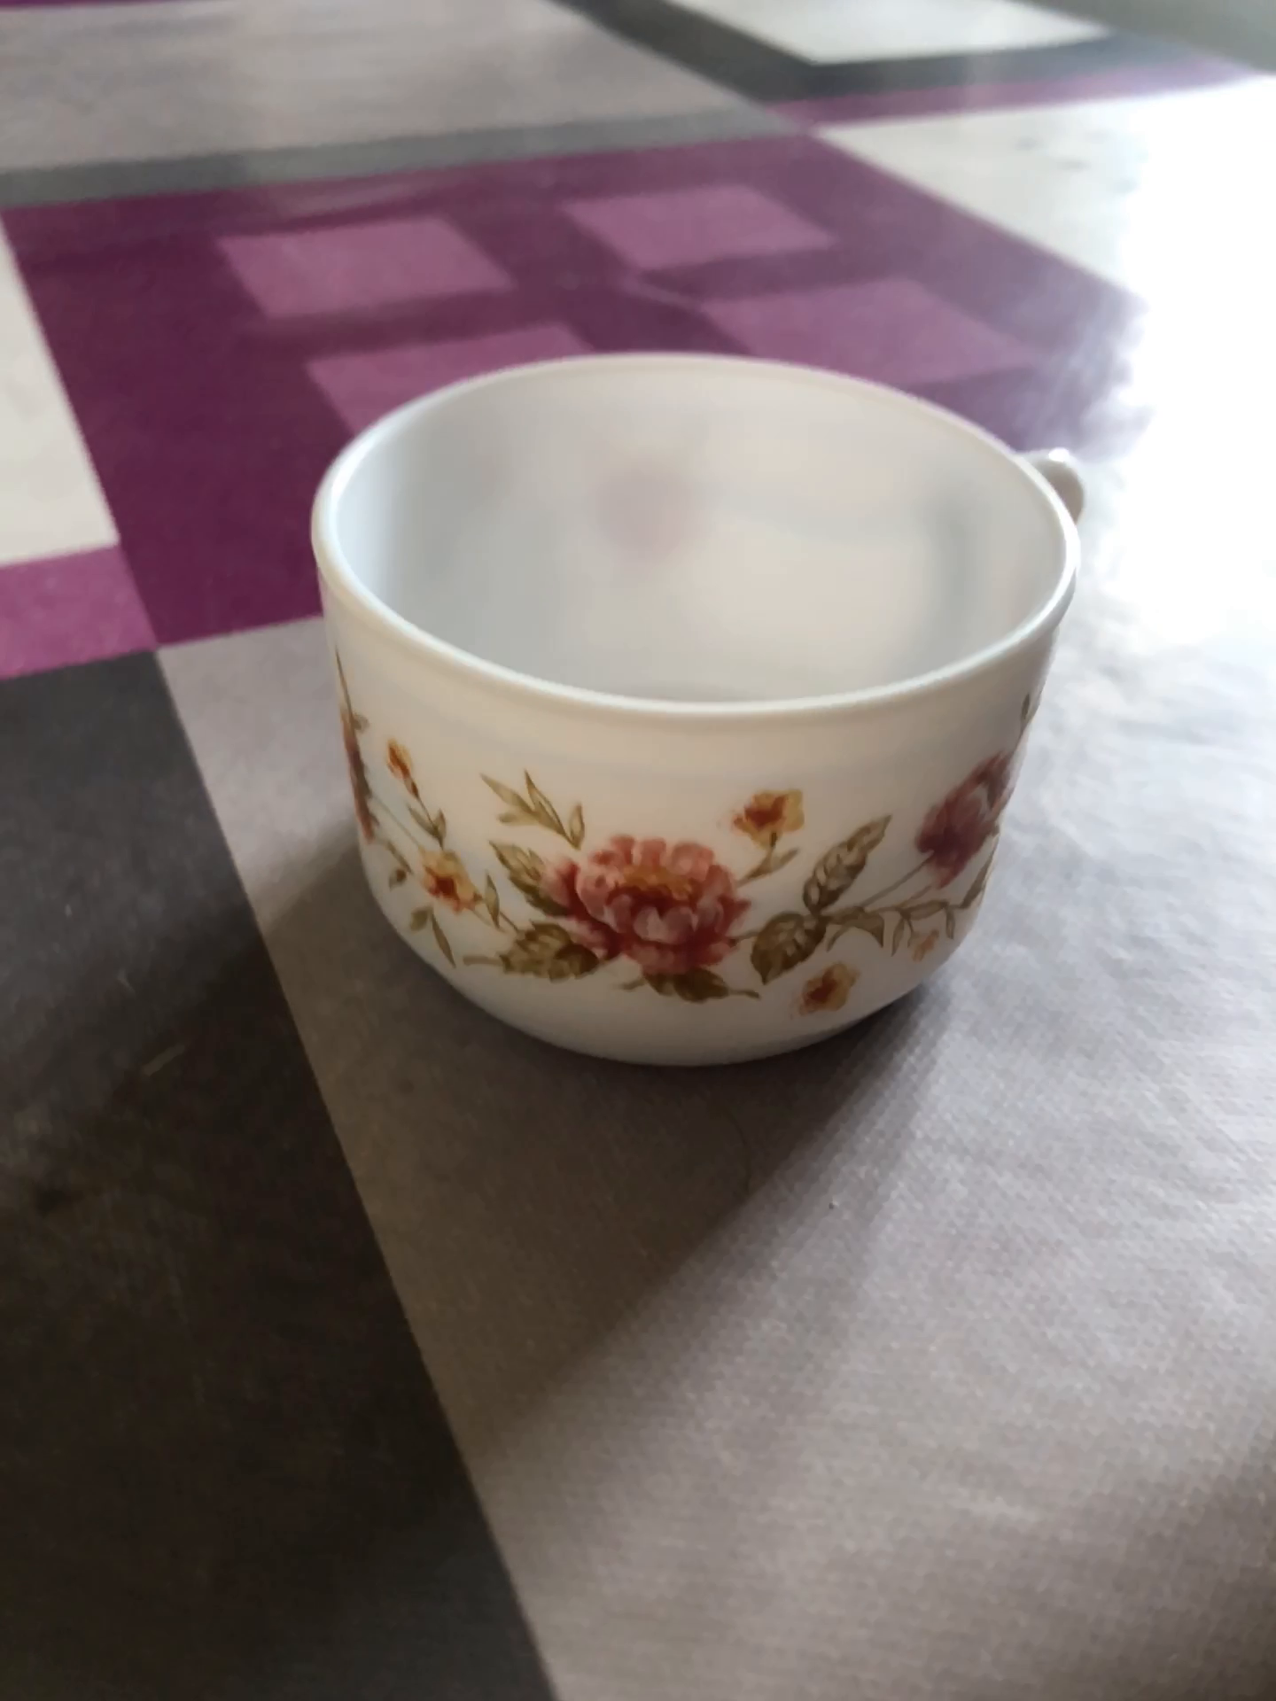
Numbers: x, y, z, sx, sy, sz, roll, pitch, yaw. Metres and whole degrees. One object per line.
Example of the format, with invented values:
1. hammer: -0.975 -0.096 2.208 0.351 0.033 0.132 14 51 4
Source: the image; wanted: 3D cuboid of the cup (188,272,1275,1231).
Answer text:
1. cup: 0.018 -0.022 0.166 0.110 0.050 0.080 -17 43 -22
